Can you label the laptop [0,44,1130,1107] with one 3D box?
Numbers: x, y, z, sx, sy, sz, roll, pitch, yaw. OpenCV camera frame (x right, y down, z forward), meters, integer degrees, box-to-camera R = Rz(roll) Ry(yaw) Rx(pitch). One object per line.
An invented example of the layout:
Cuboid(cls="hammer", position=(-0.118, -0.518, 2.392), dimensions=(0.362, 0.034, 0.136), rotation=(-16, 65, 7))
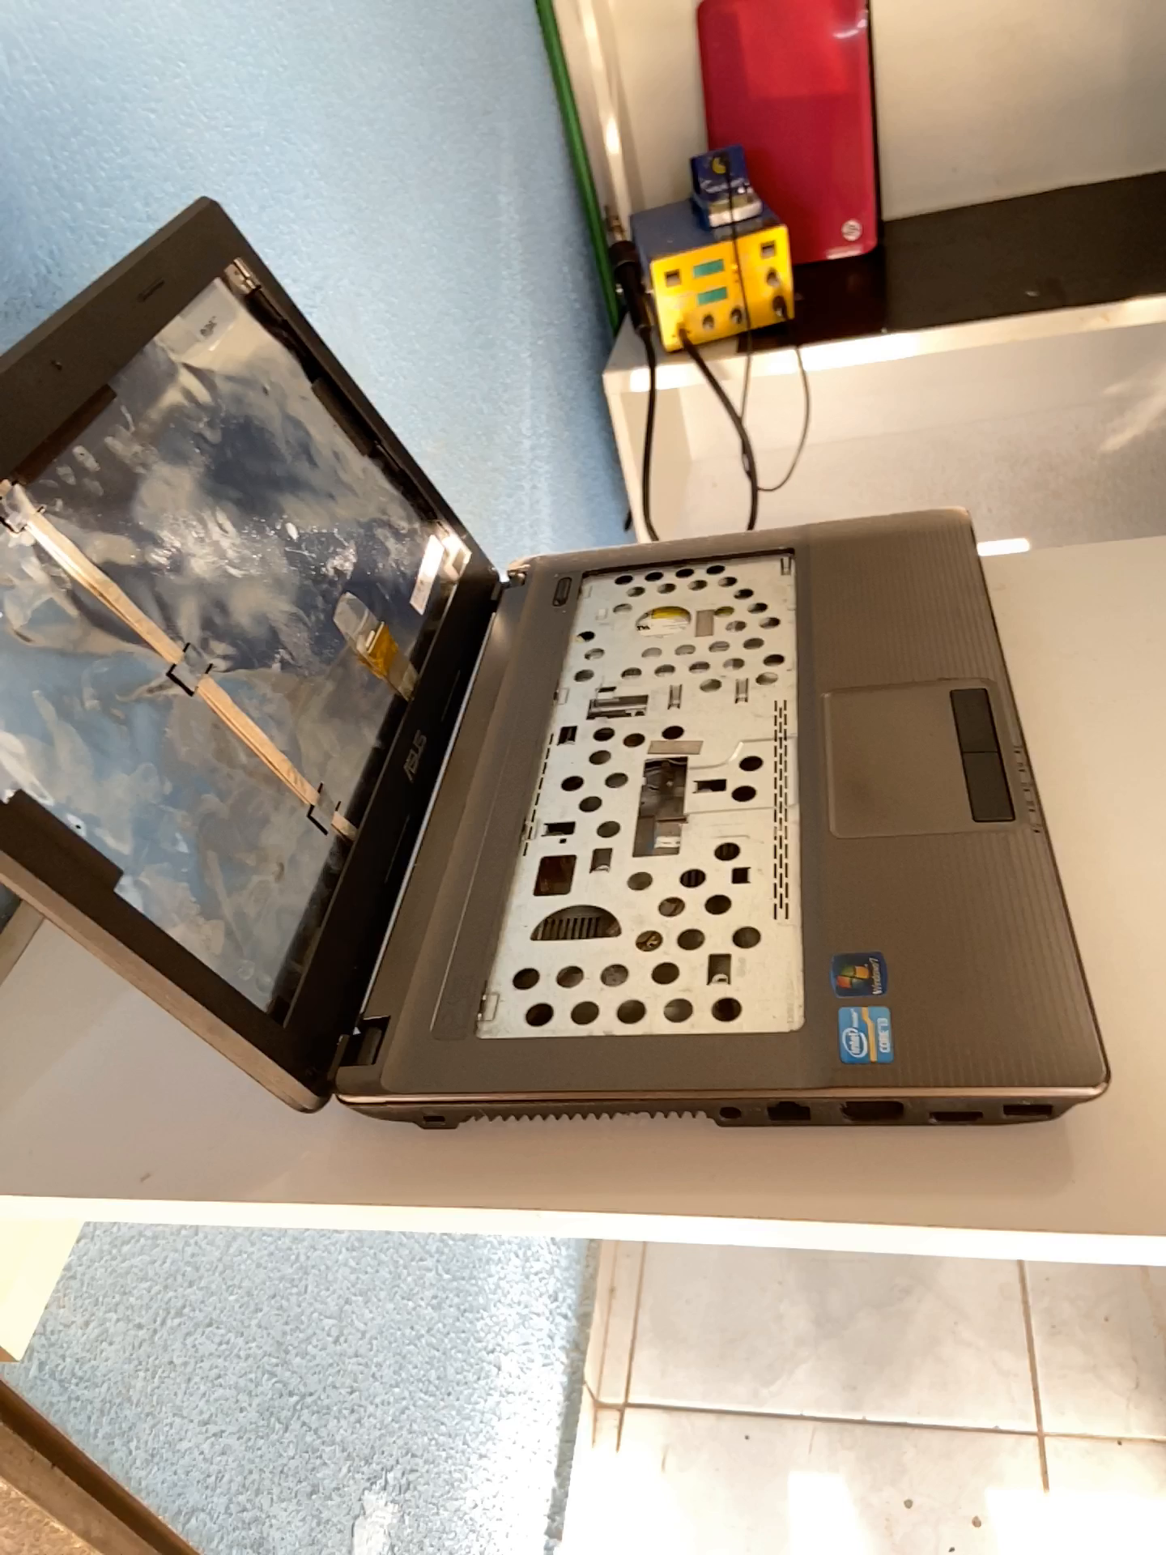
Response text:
Cuboid(cls="laptop", position=(-0.014, -0.088, 0.440), dimensions=(0.327, 0.202, 0.338), rotation=(-5, 39, 14))
